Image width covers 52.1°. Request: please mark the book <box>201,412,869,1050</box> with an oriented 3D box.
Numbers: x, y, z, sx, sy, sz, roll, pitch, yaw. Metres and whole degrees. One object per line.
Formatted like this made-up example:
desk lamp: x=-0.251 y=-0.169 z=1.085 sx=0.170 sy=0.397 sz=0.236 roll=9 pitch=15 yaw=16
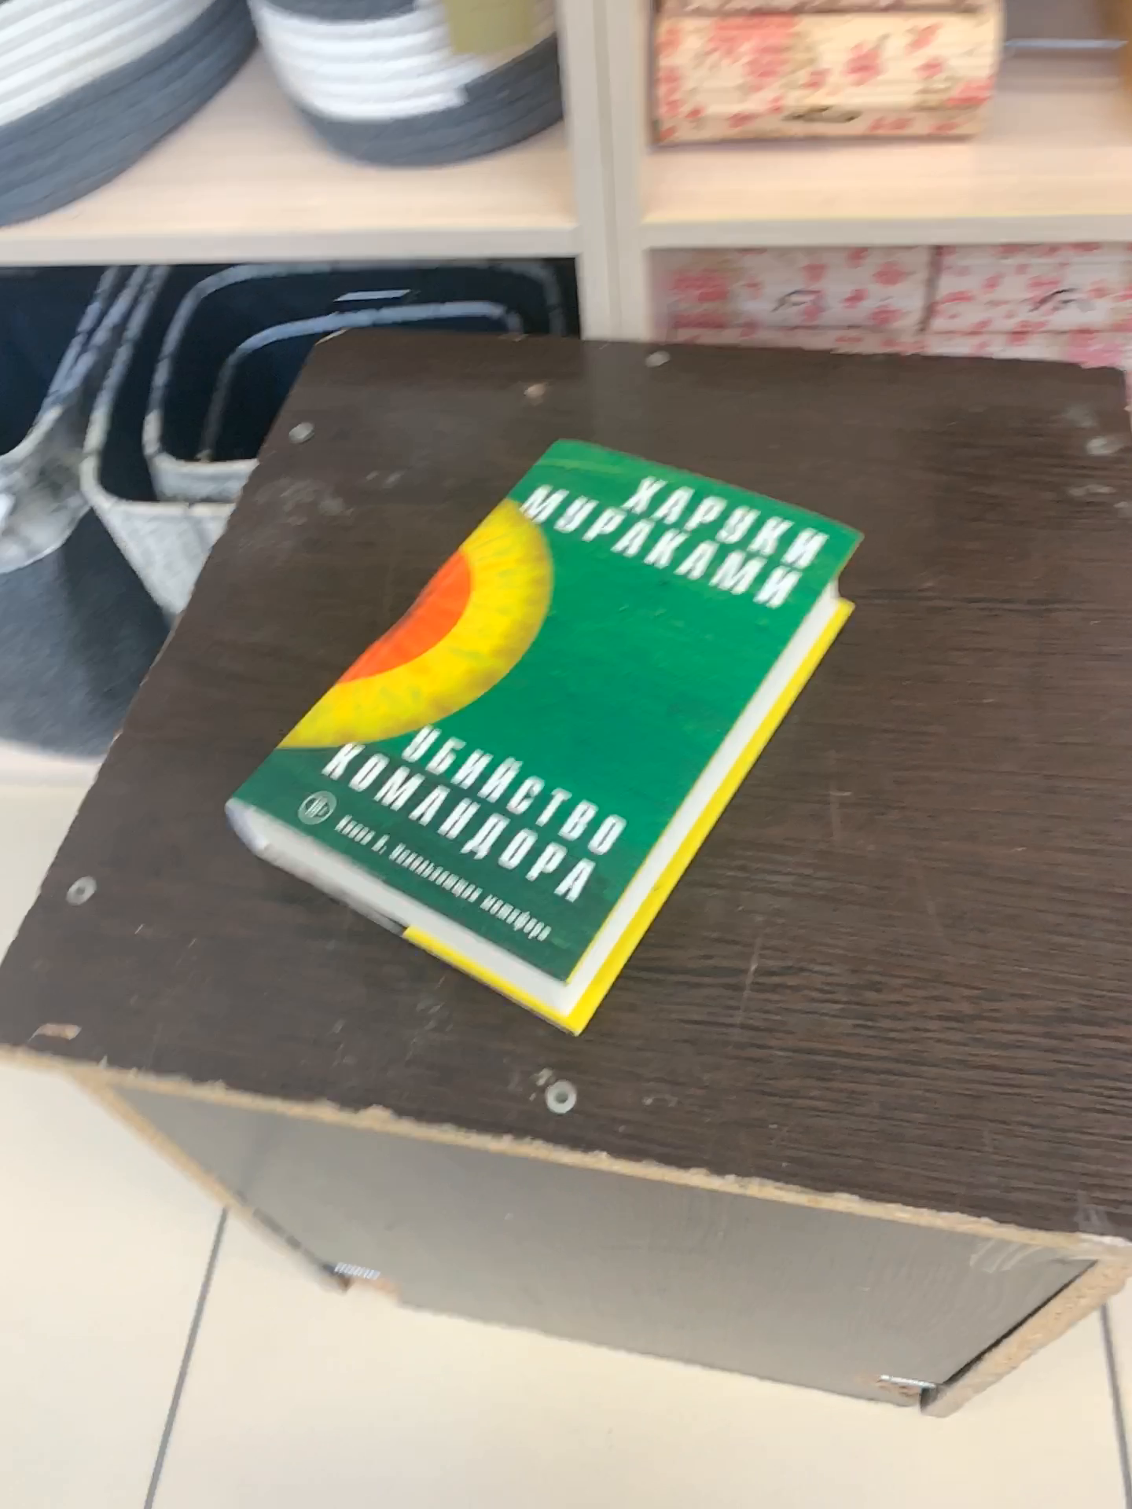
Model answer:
book: x=-0.003 y=-0.024 z=0.442 sx=0.150 sy=0.050 sz=0.217 roll=25 pitch=63 yaw=22
